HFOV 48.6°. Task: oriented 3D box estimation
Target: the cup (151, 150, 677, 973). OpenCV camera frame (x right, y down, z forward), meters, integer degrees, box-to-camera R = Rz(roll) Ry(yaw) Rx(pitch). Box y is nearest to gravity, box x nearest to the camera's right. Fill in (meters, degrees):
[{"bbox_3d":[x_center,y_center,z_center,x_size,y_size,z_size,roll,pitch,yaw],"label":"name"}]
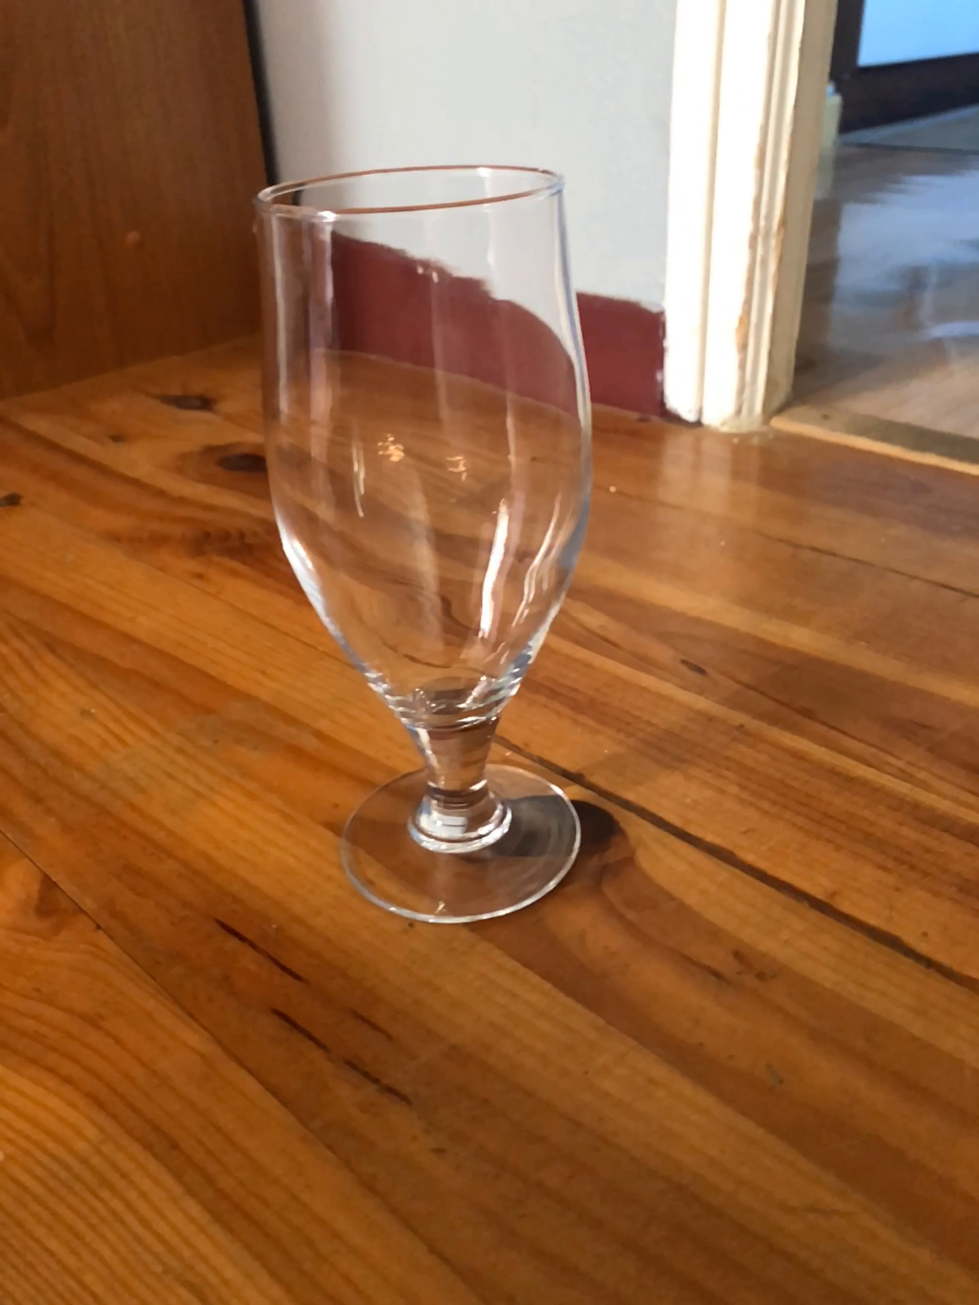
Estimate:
[{"bbox_3d":[-0.013,-0.025,0.285,0.081,0.183,0.083,-1,31,1],"label":"cup"}]
